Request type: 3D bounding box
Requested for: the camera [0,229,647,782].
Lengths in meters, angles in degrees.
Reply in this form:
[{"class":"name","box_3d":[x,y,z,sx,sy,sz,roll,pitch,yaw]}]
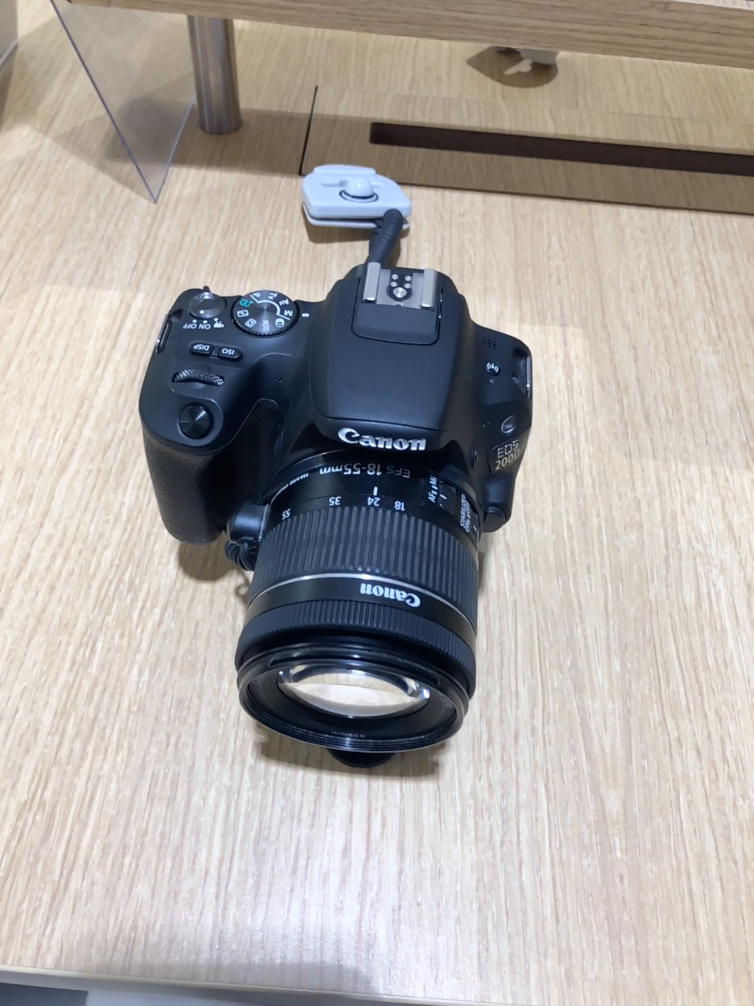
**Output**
[{"class":"camera","box_3d":[-0.010,0.000,0.229,0.130,0.080,0.115,5,54,0]}]
